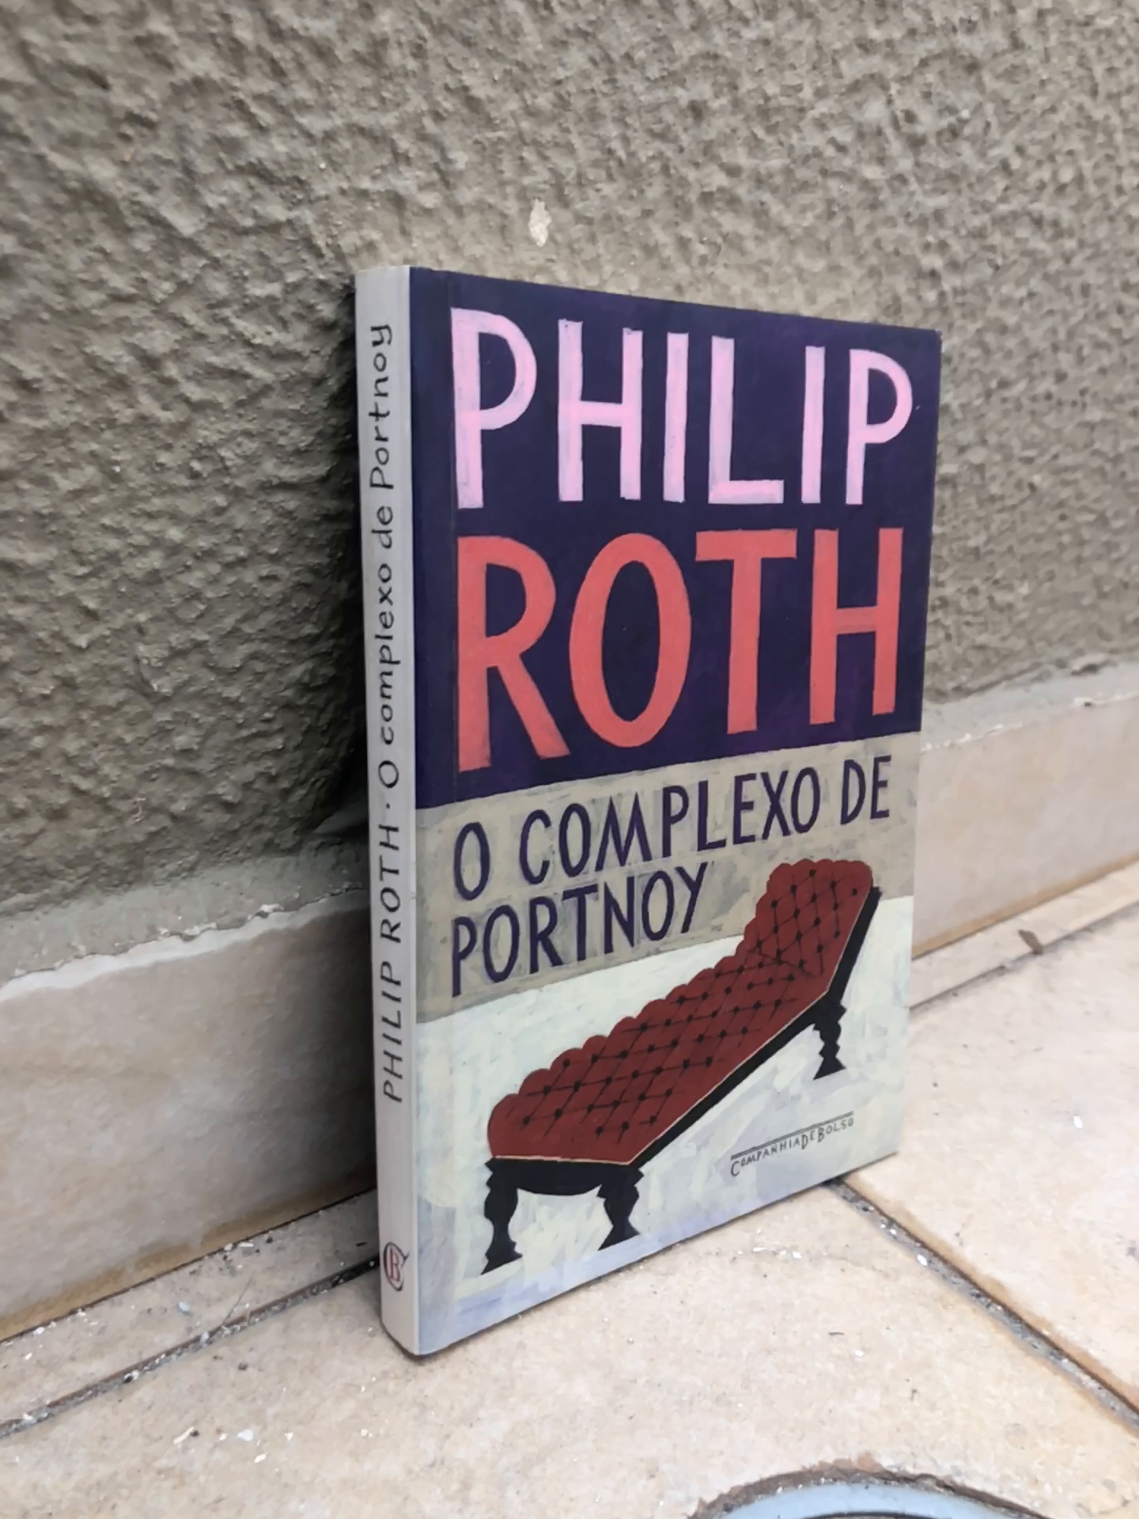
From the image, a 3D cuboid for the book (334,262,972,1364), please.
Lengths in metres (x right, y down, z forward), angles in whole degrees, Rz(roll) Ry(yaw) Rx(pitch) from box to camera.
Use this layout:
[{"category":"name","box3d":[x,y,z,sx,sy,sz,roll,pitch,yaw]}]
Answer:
[{"category":"book","box3d":[0.020,0.007,0.244,0.126,0.179,0.023,-8,16,-35]}]
